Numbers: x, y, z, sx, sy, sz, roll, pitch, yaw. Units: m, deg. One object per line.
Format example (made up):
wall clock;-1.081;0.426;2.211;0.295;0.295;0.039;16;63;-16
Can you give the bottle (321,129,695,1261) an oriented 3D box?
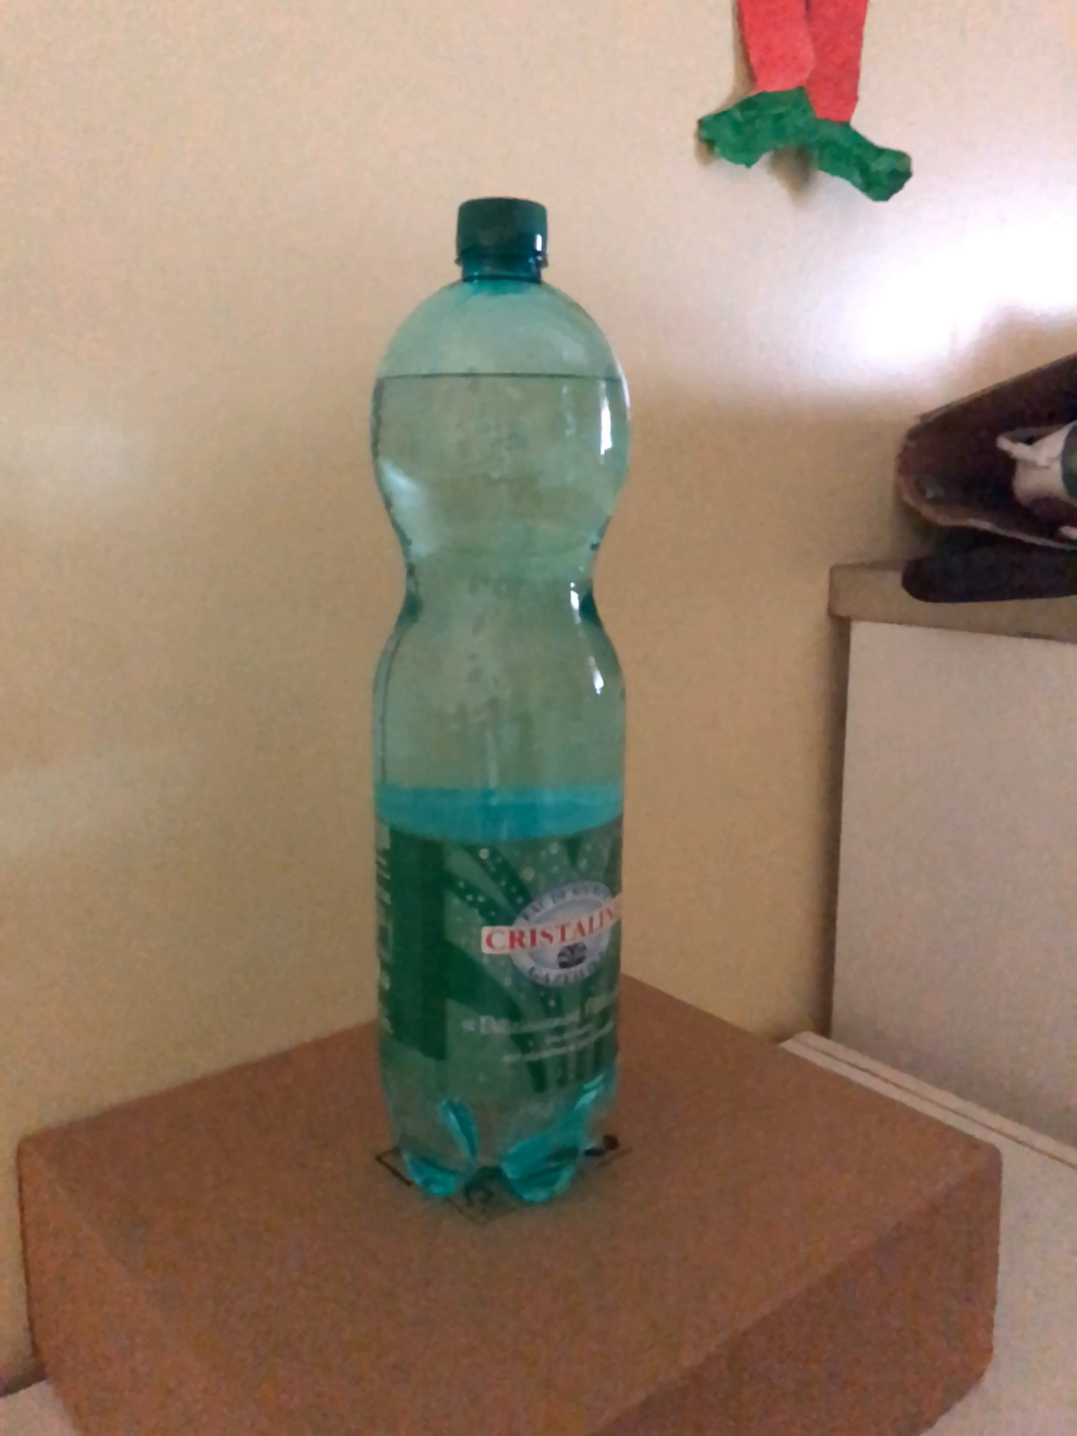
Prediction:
bottle;-0.012;-0.003;0.406;0.090;0.339;0.080;-7;13;-33
